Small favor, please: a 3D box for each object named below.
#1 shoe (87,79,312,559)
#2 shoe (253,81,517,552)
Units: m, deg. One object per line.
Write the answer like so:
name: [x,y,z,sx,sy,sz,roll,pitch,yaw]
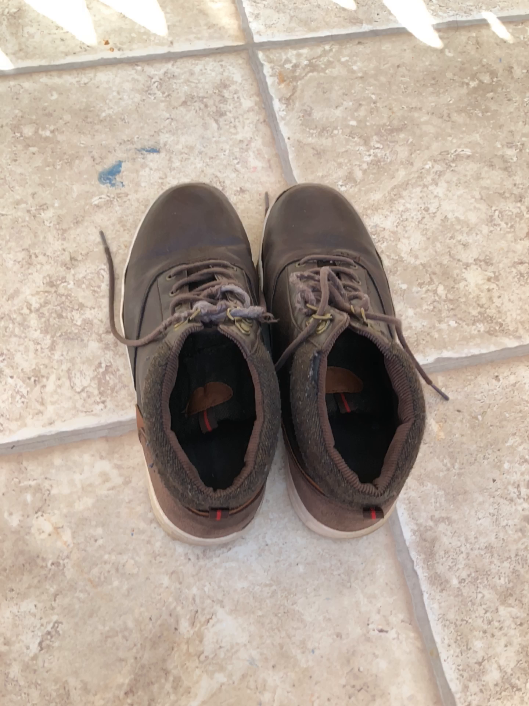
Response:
shoe: [-0.050,-0.025,0.419,0.110,0.149,0.301,-4,65,-5]
shoe: [0.058,-0.026,0.423,0.110,0.149,0.301,-3,65,-4]
